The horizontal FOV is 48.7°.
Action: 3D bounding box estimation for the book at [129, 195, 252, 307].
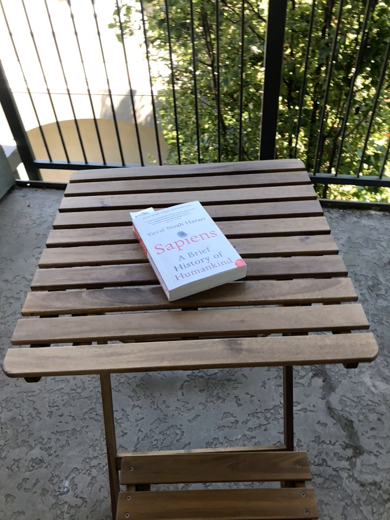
[{"bbox_3d":[-0.016,-0.030,0.850,0.160,0.040,0.241,-18,45,-14],"label":"book"}]
